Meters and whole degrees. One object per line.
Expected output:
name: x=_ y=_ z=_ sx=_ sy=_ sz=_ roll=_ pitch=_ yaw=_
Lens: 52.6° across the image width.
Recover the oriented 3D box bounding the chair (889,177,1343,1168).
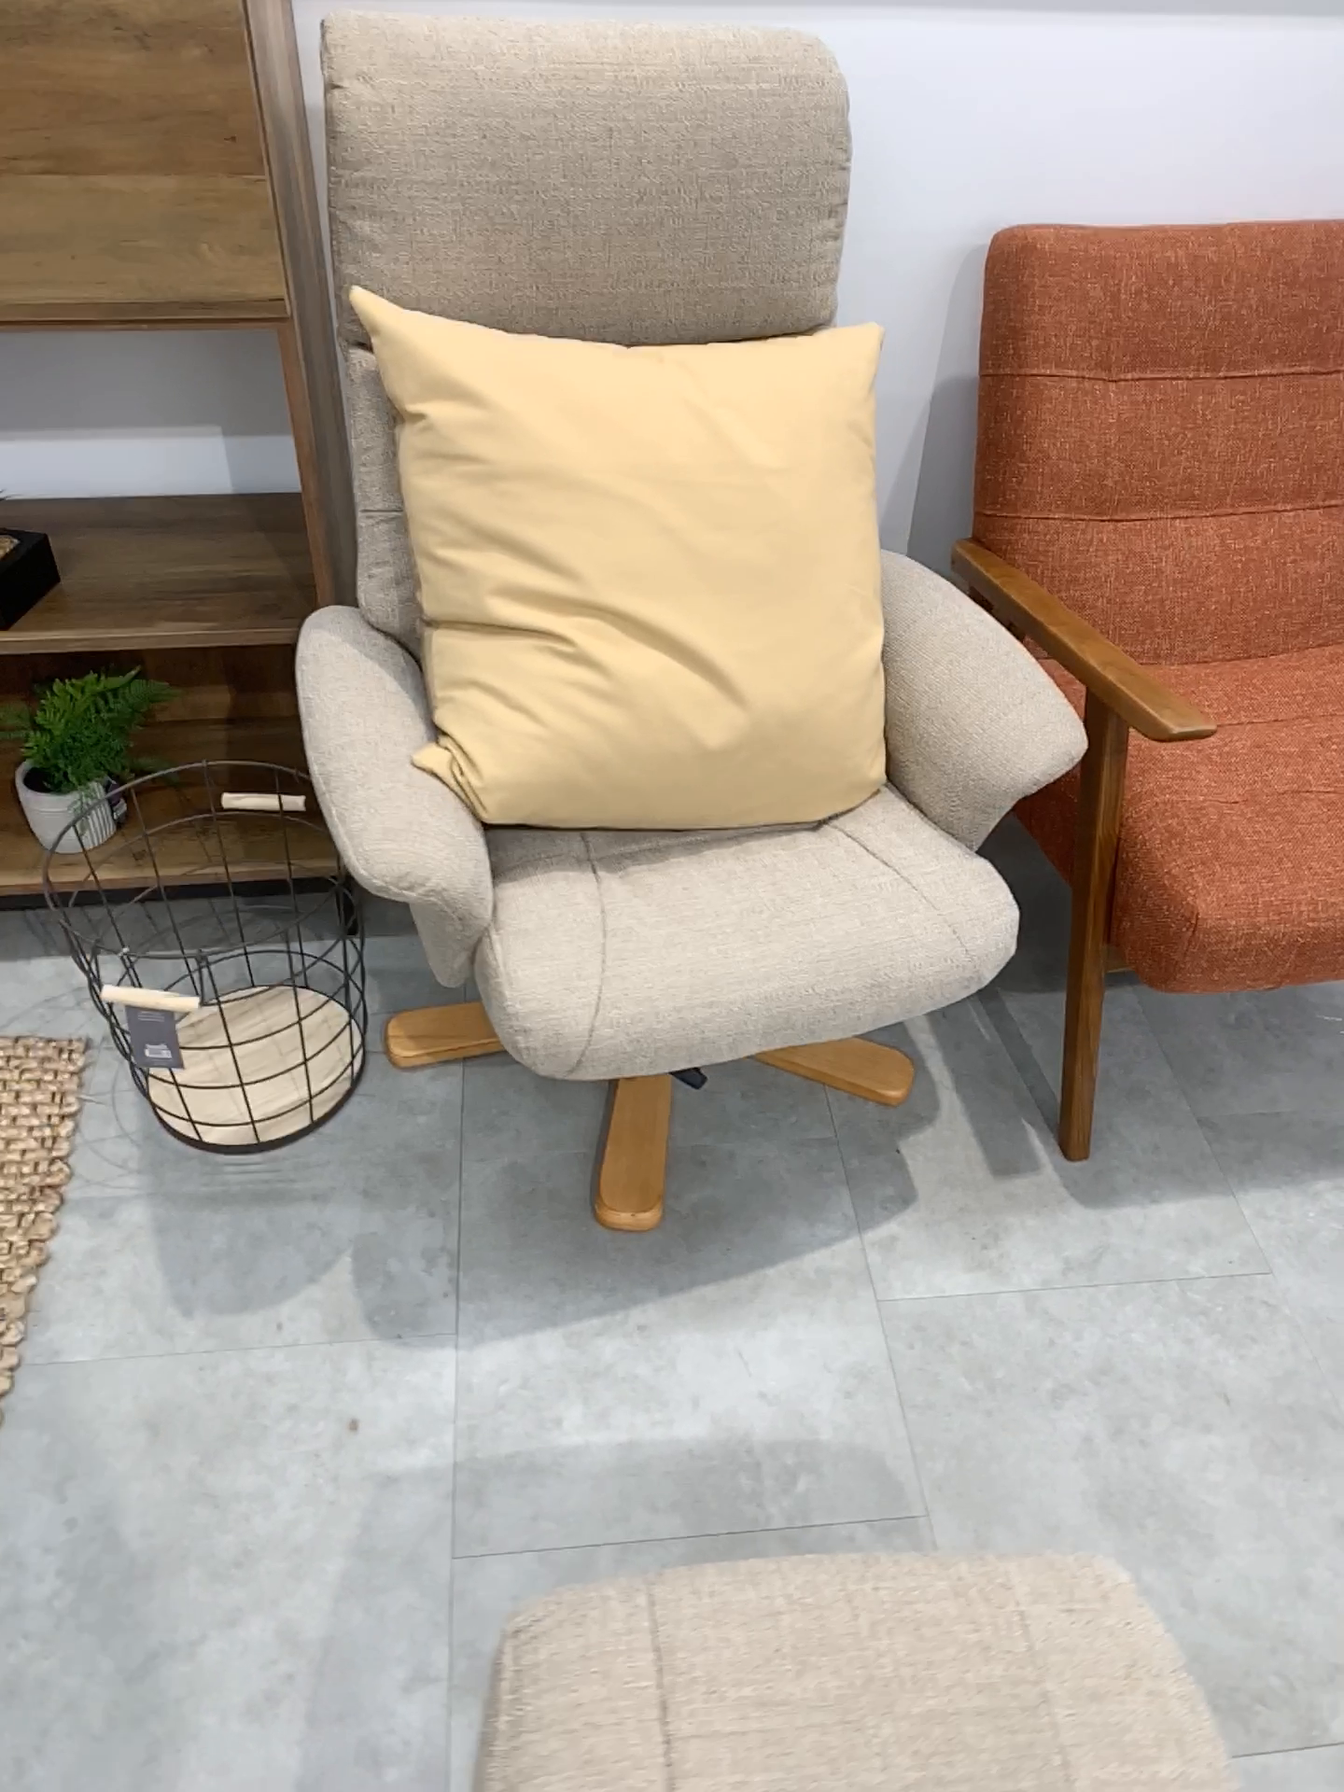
chair: x=0.657 y=-0.273 z=1.580 sx=0.551 sy=0.918 sz=0.623 roll=-6 pitch=35 yaw=-9

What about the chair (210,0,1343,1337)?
chair: x=0.013 y=-0.229 z=1.355 sx=0.761 sy=1.047 sz=0.663 roll=-7 pitch=42 yaw=-19
